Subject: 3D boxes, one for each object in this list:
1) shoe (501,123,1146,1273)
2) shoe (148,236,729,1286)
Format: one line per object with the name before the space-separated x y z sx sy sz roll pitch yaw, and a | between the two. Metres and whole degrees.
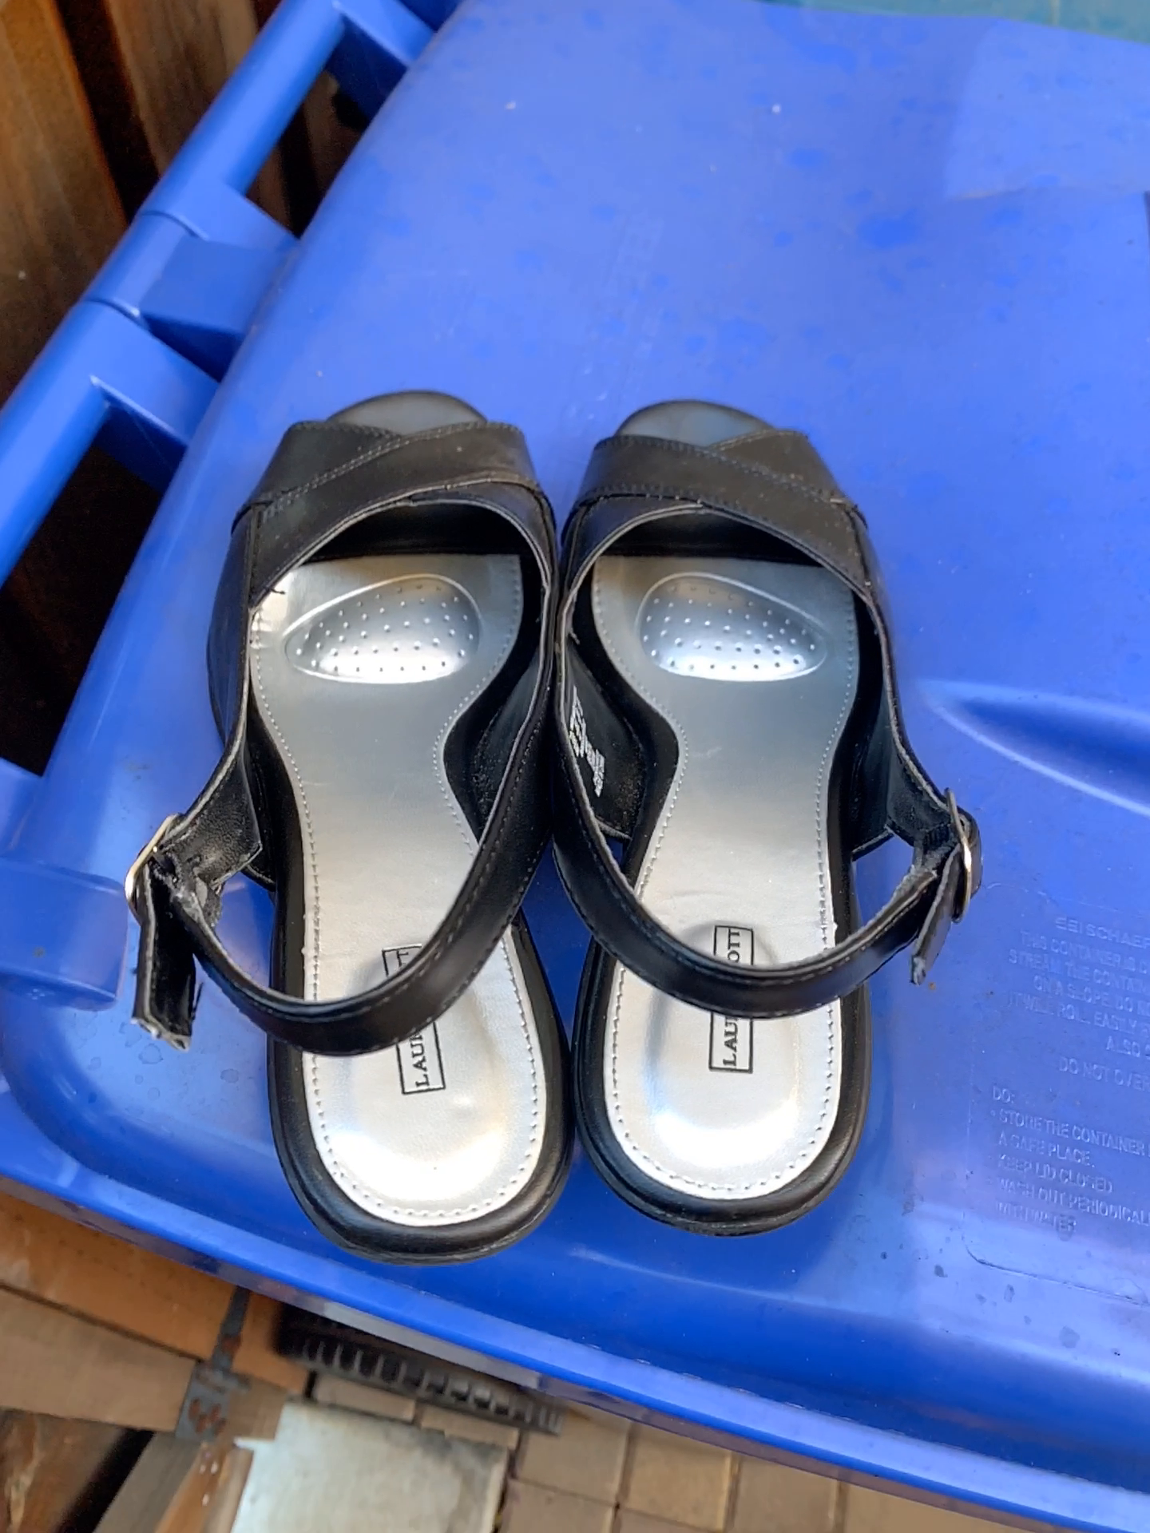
shoe | 0.036 -0.027 0.275 0.090 0.099 0.252 1 58 0
shoe | -0.048 -0.021 0.296 0.090 0.089 0.252 0 50 -15
